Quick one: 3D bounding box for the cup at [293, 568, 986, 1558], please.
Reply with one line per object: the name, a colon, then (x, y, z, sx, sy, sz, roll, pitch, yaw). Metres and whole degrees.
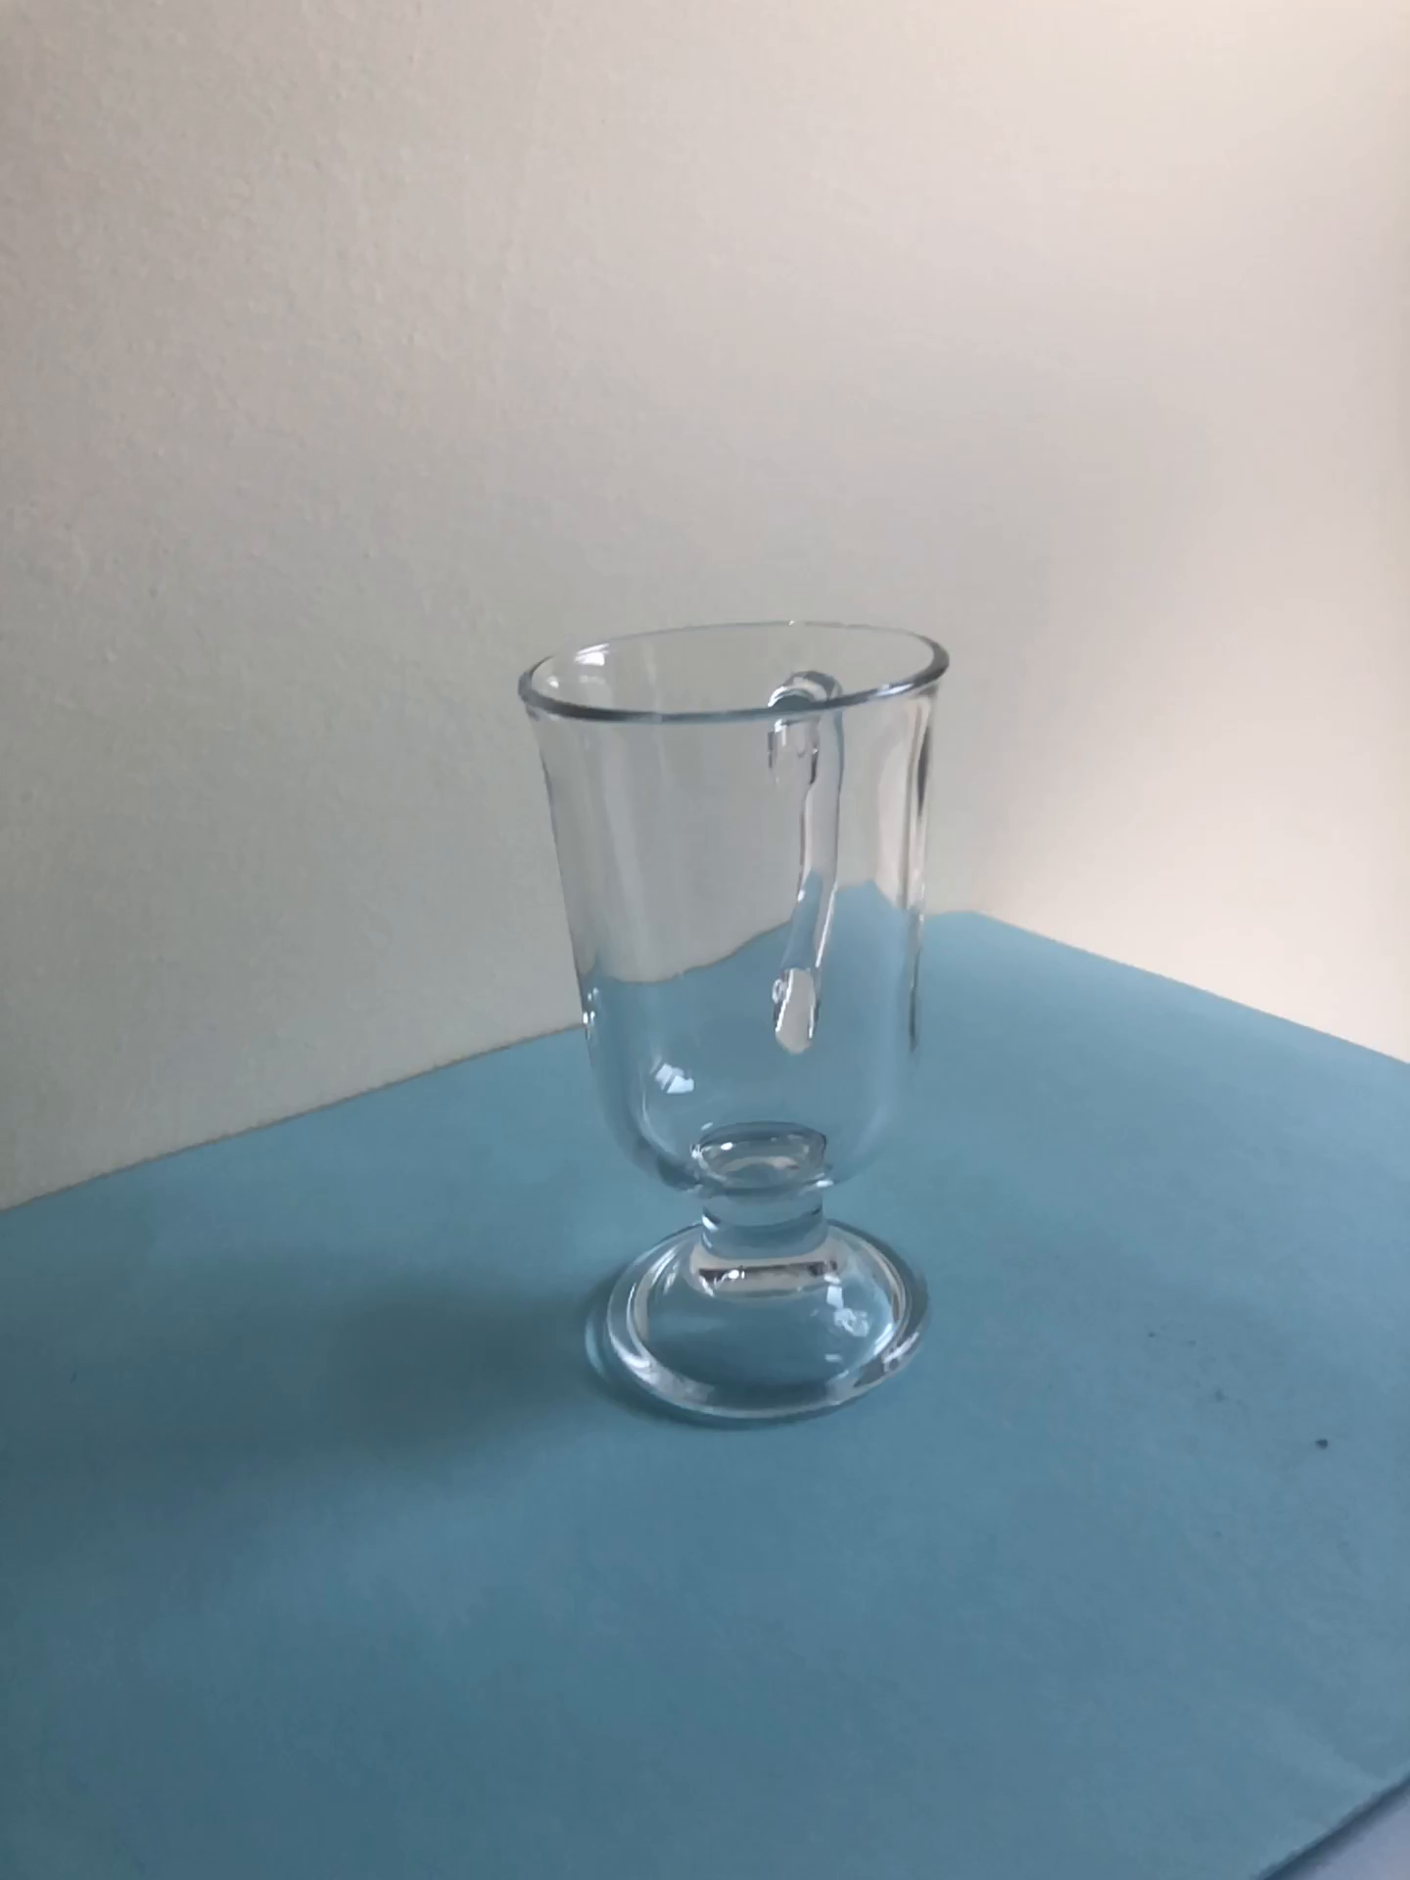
cup: (0.001, 0.010, 0.252, 0.070, 0.119, 0.101, 4, 23, 19)
